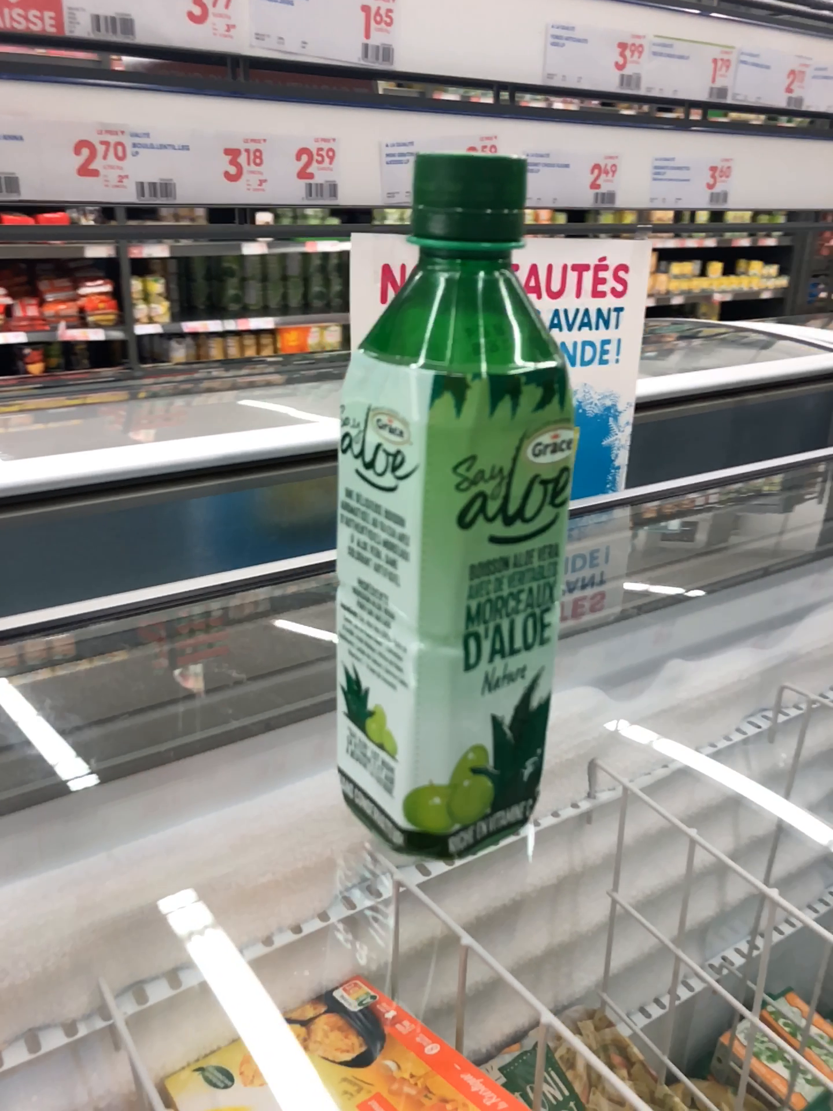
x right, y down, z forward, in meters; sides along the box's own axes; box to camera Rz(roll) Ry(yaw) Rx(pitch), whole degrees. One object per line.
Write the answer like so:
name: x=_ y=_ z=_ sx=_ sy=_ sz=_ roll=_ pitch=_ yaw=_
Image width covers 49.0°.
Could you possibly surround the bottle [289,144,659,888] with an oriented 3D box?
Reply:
bottle: x=0.012 y=-0.014 z=0.279 sx=0.070 sy=0.199 sz=0.070 roll=1 pitch=21 yaw=0
